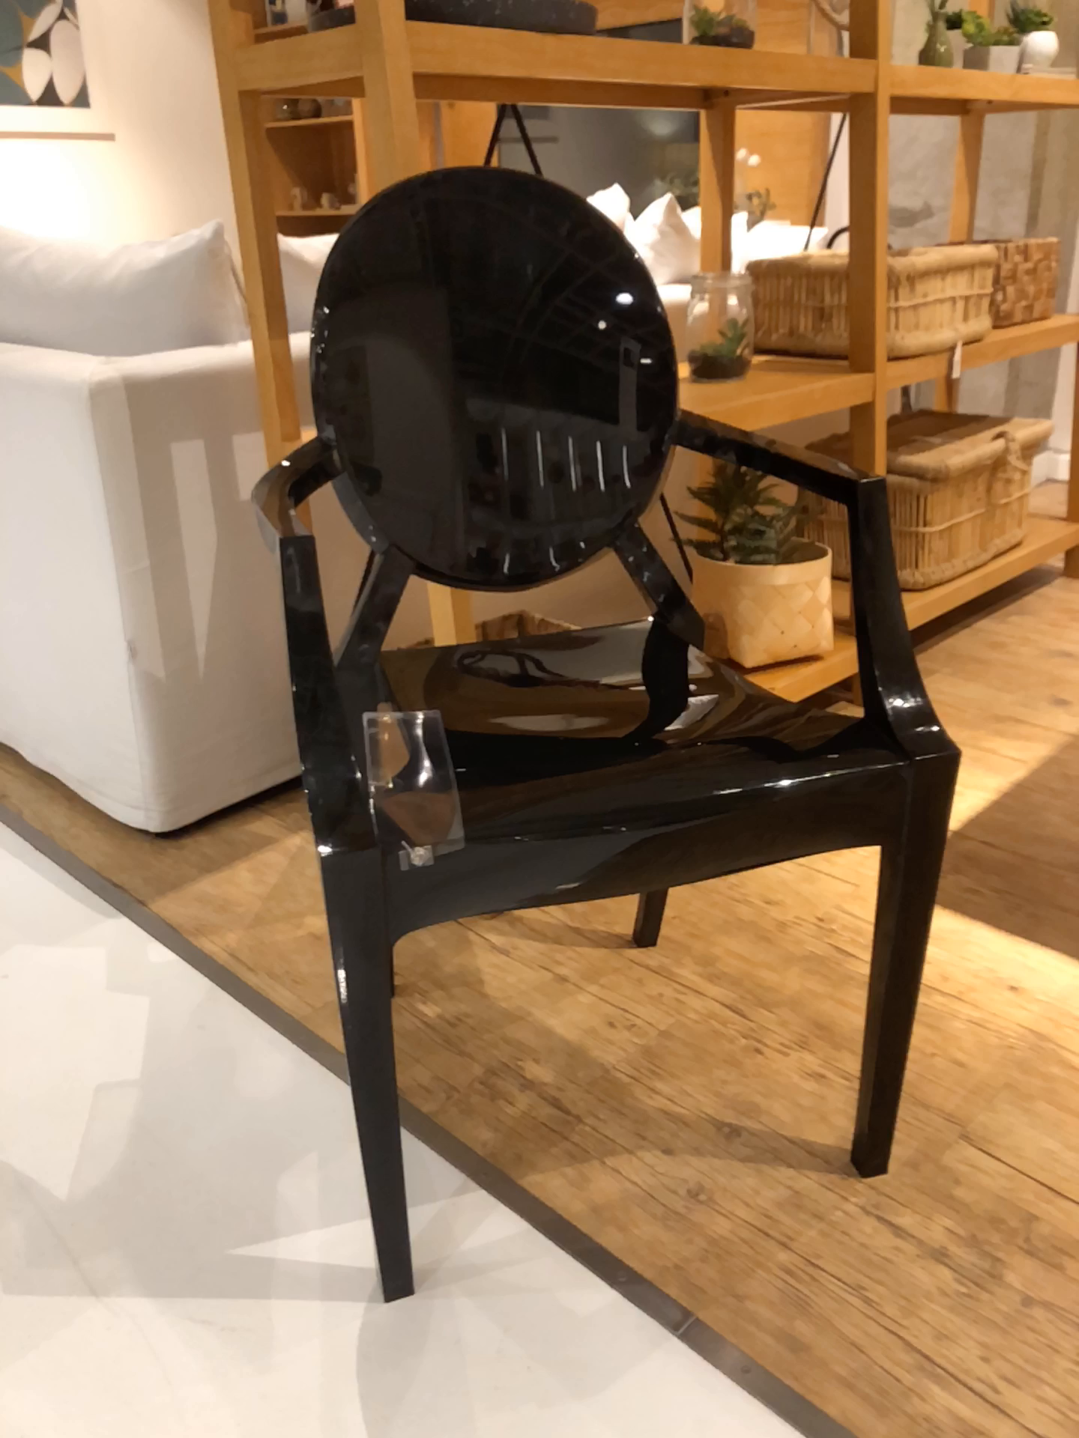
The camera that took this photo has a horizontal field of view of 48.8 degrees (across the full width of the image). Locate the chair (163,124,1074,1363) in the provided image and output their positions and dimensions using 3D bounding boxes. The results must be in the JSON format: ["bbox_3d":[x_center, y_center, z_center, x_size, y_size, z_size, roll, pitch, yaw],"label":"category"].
[{"bbox_3d":[0.014,-0.043,1.141,0.540,0.904,0.594,-10,24,-19],"label":"chair"}]
